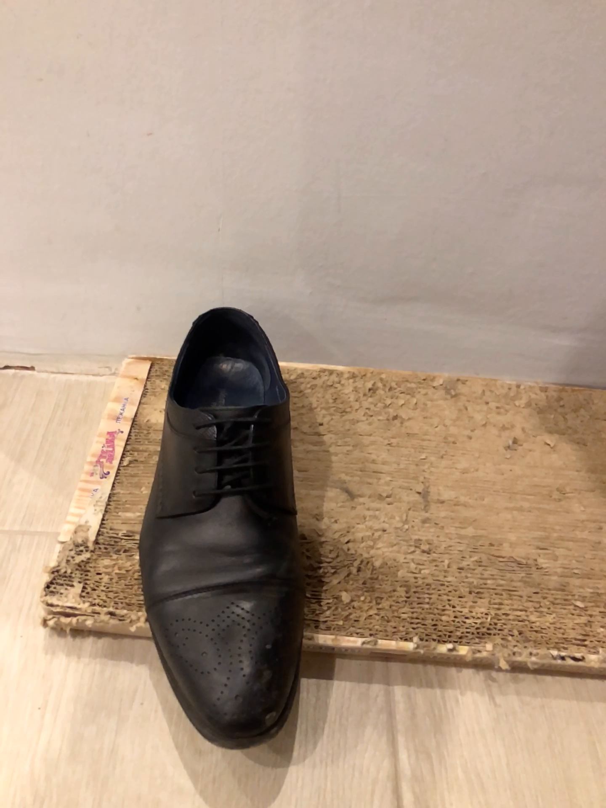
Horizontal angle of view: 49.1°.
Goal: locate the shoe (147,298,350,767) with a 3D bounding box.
[{"bbox_3d":[-0.042,0.059,0.427,0.090,0.099,0.282,-2,47,-7],"label":"shoe"}]
